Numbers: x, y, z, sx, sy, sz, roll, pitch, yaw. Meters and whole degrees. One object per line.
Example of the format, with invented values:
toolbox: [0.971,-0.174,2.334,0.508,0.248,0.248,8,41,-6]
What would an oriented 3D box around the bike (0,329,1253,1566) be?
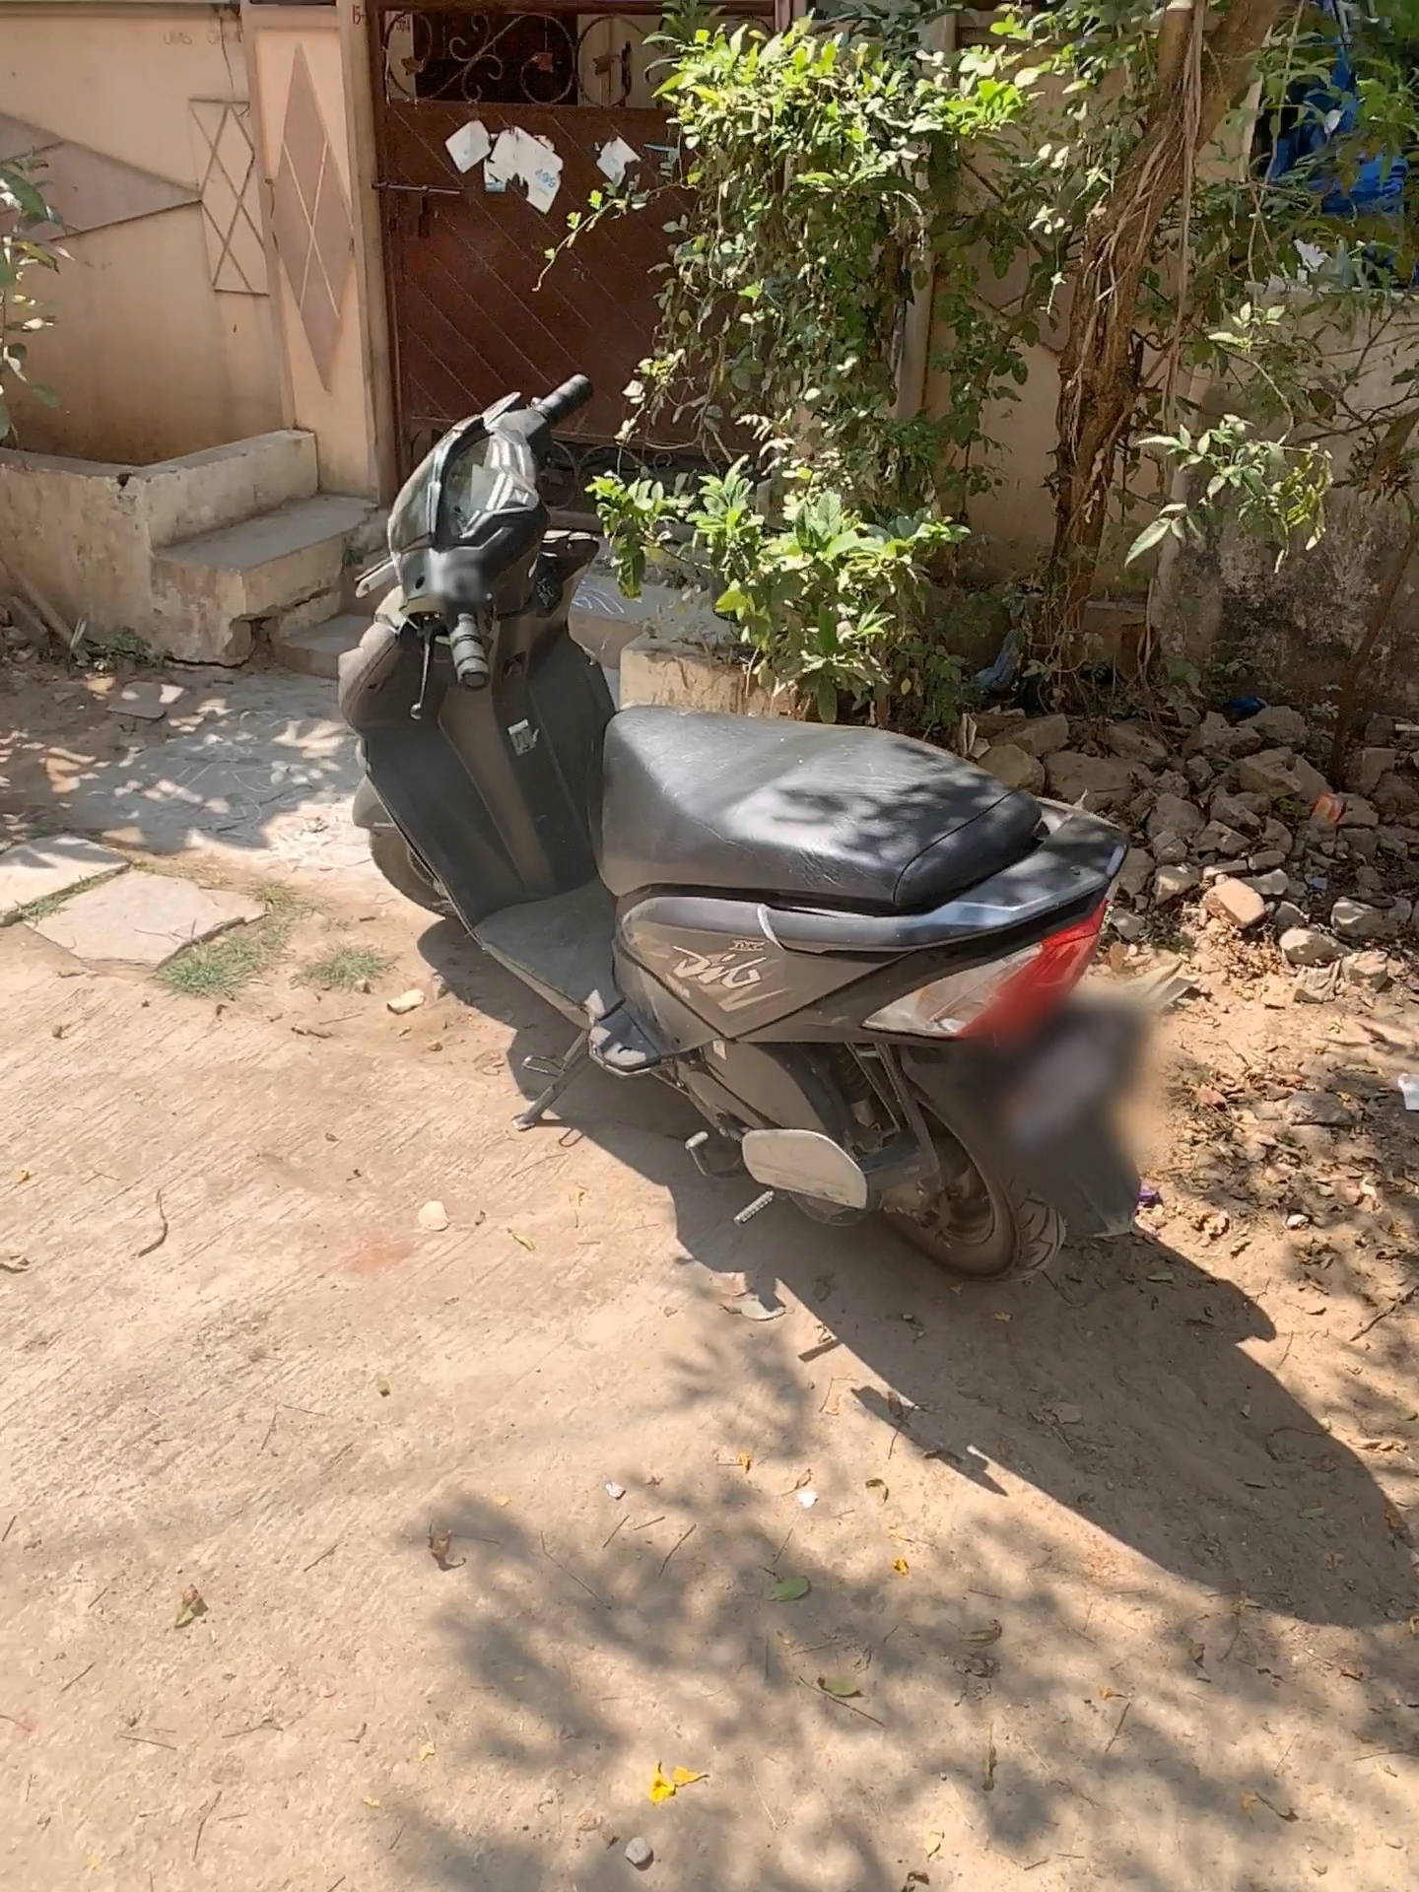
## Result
bike: [-0.244,-0.135,2.079,1.531,1.174,0.625,26,37,34]
